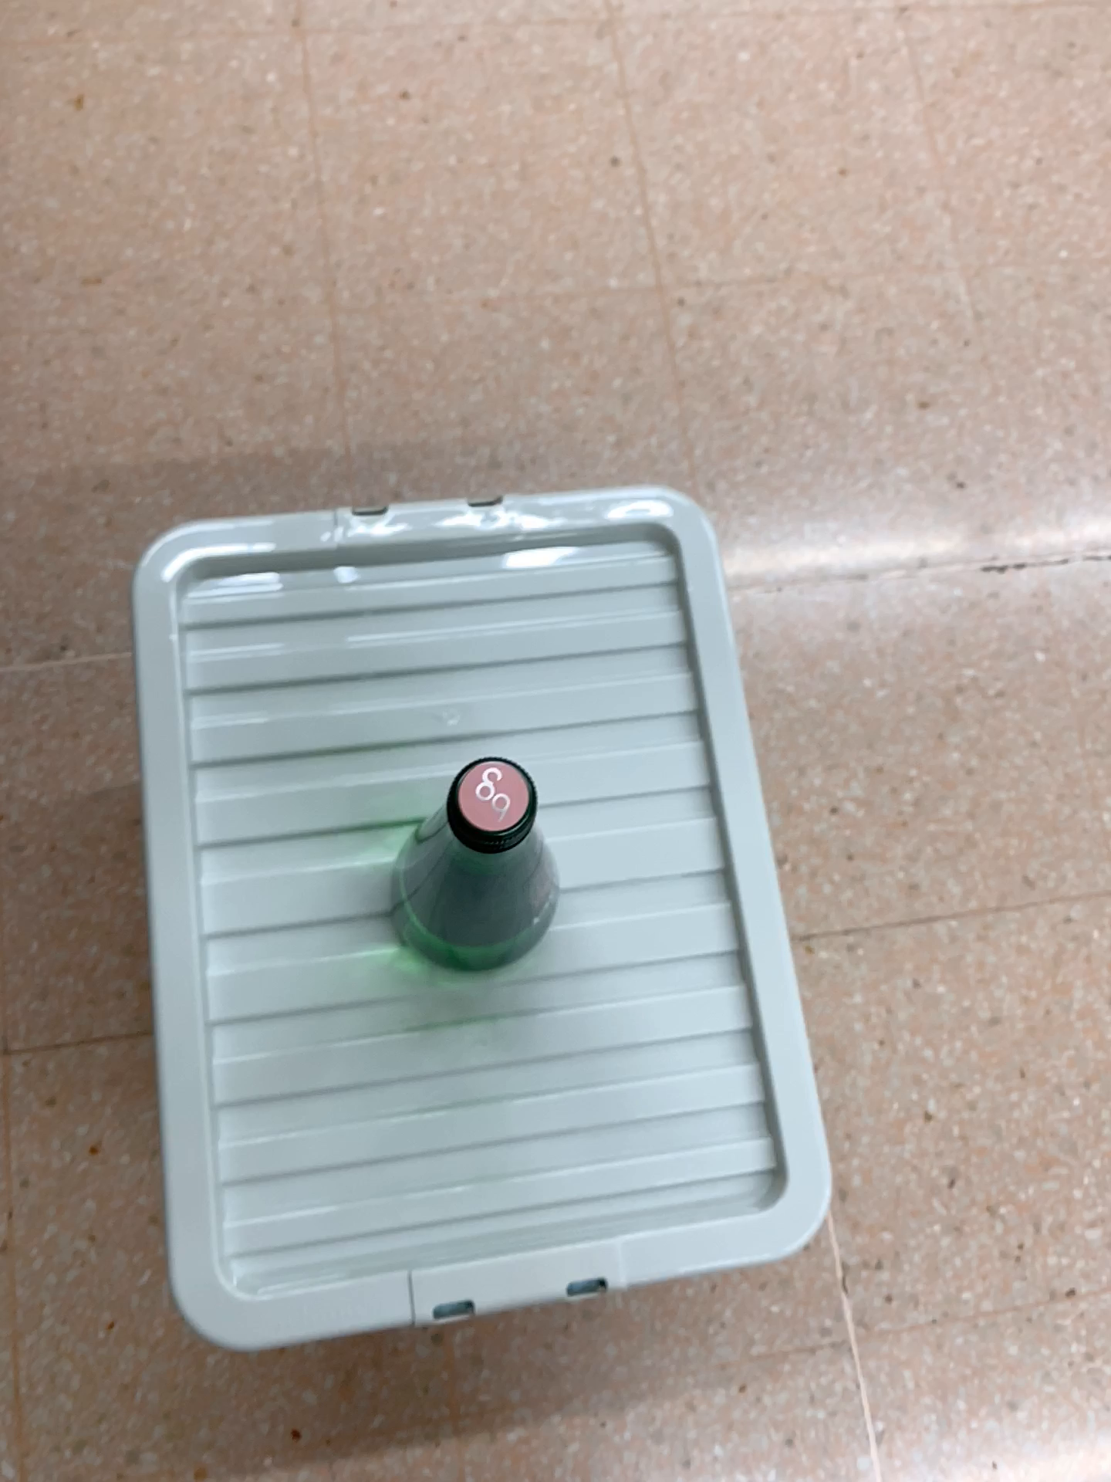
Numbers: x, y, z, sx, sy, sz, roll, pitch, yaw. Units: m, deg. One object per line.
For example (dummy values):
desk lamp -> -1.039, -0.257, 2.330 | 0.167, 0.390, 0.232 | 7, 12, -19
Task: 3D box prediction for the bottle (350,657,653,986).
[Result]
bottle -> -0.032, 0.053, 0.505 | 0.085, 0.288, 0.090 | 1, 77, -5
